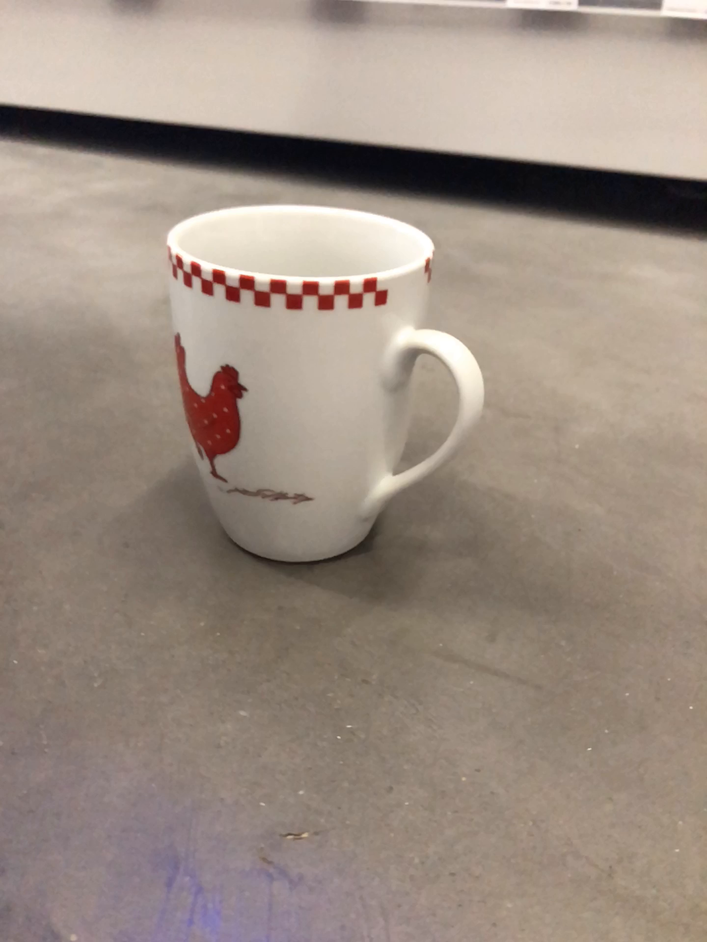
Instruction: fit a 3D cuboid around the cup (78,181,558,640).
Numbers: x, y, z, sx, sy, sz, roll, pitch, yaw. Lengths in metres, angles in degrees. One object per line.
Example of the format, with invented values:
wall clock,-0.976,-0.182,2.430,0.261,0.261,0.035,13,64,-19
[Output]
cup,-0.010,-0.028,0.246,0.102,0.092,0.088,23,36,30
